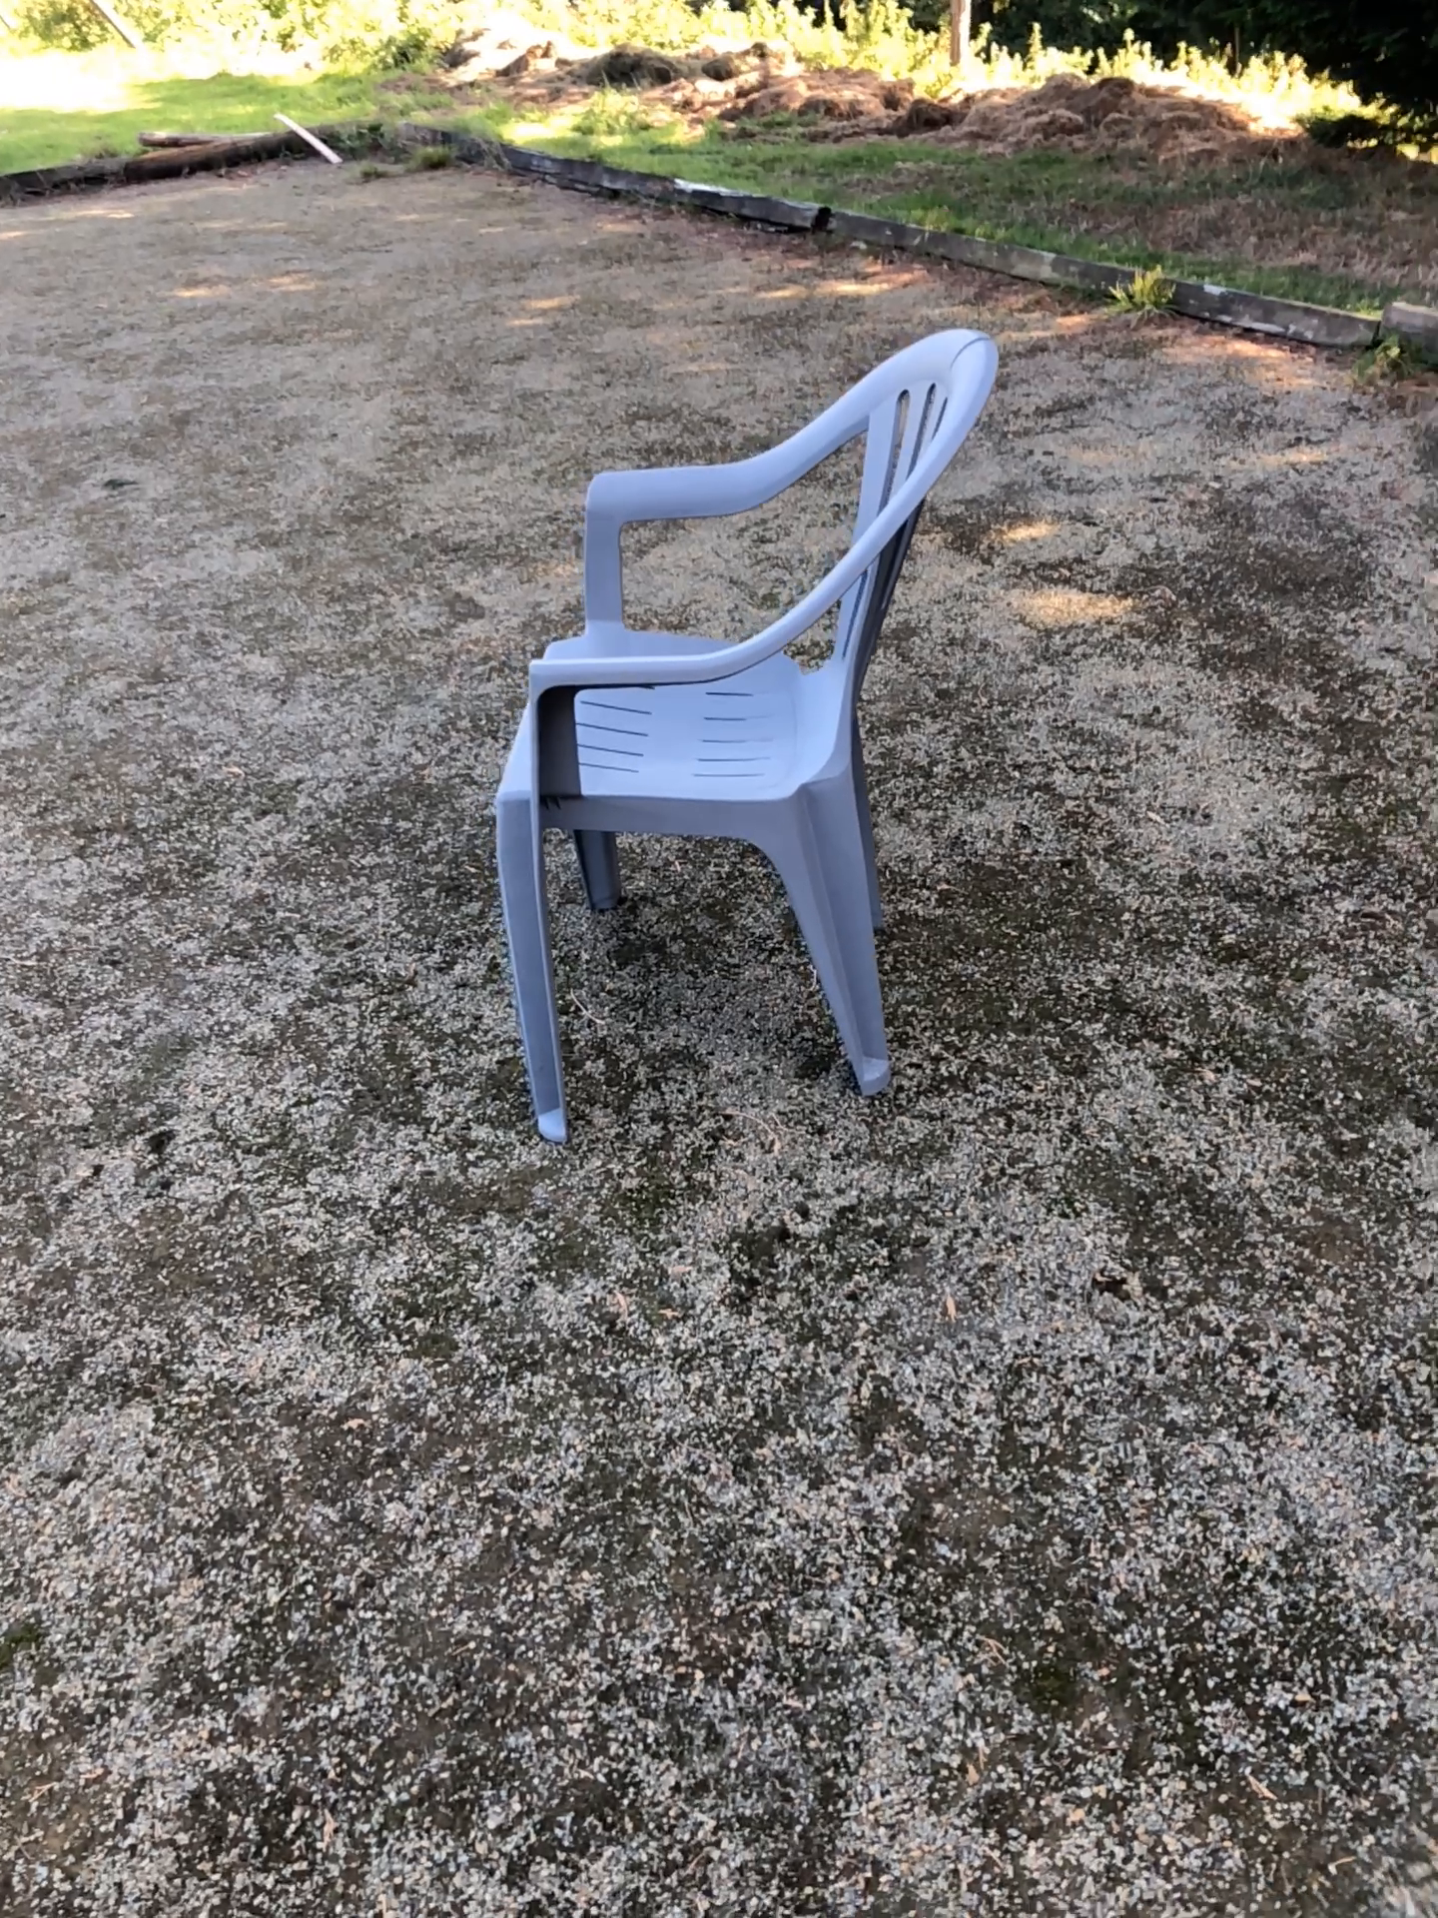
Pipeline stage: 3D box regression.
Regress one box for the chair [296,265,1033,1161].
[{"bbox_3d":[0.013,-0.283,1.776,0.620,0.775,0.634,0,35,8],"label":"chair"}]
